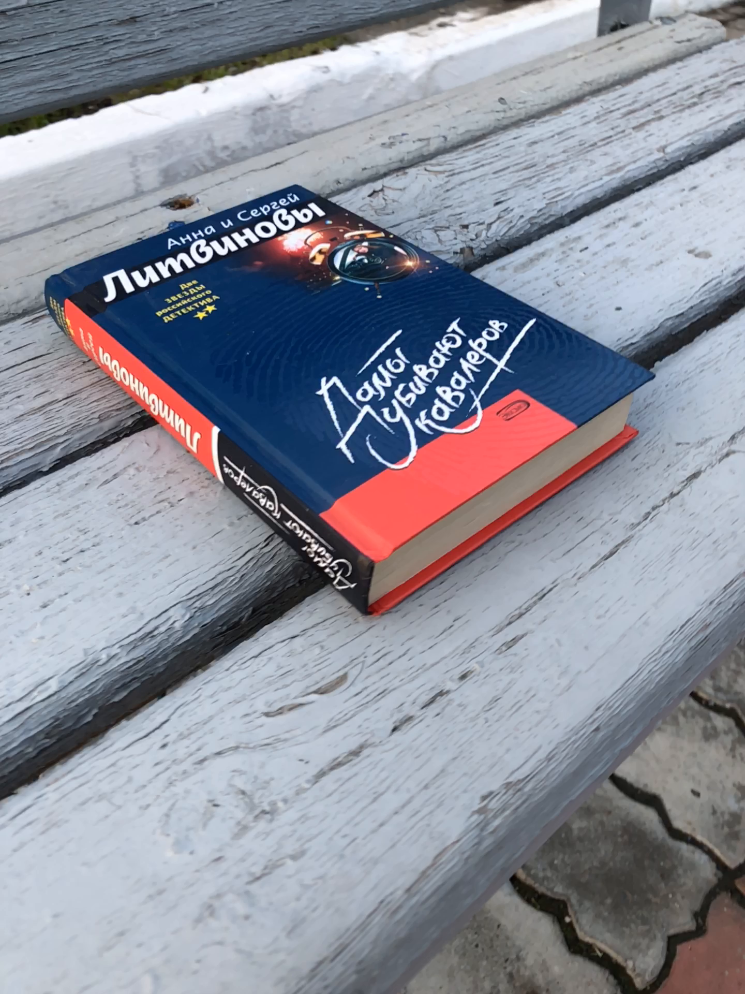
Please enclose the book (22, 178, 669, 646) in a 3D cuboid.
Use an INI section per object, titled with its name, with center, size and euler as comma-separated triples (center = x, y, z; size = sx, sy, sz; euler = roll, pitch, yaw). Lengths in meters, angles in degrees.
[book]
center = -0.019, -0.053, 0.309
size = 0.130, 0.030, 0.208
euler = -32, 53, -29
